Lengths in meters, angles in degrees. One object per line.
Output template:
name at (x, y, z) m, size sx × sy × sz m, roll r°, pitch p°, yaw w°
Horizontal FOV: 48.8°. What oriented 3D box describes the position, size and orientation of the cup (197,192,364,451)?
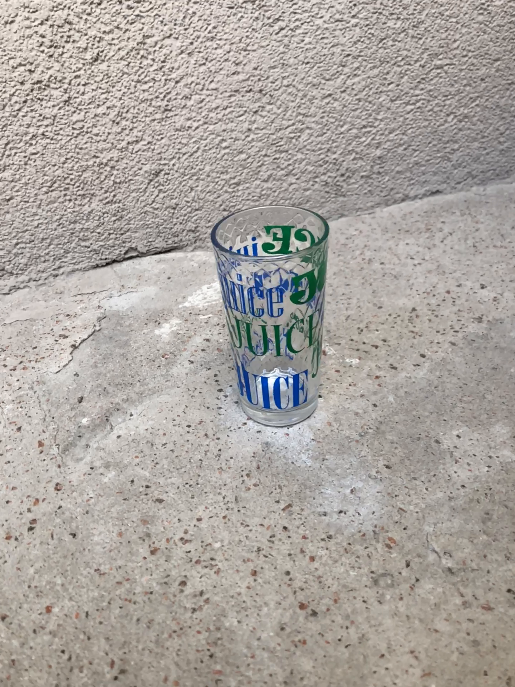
cup at (0.017, -0.013, 0.338) m, size 0.066 × 0.125 × 0.067 m, roll -2°, pitch 35°, yaw 2°
